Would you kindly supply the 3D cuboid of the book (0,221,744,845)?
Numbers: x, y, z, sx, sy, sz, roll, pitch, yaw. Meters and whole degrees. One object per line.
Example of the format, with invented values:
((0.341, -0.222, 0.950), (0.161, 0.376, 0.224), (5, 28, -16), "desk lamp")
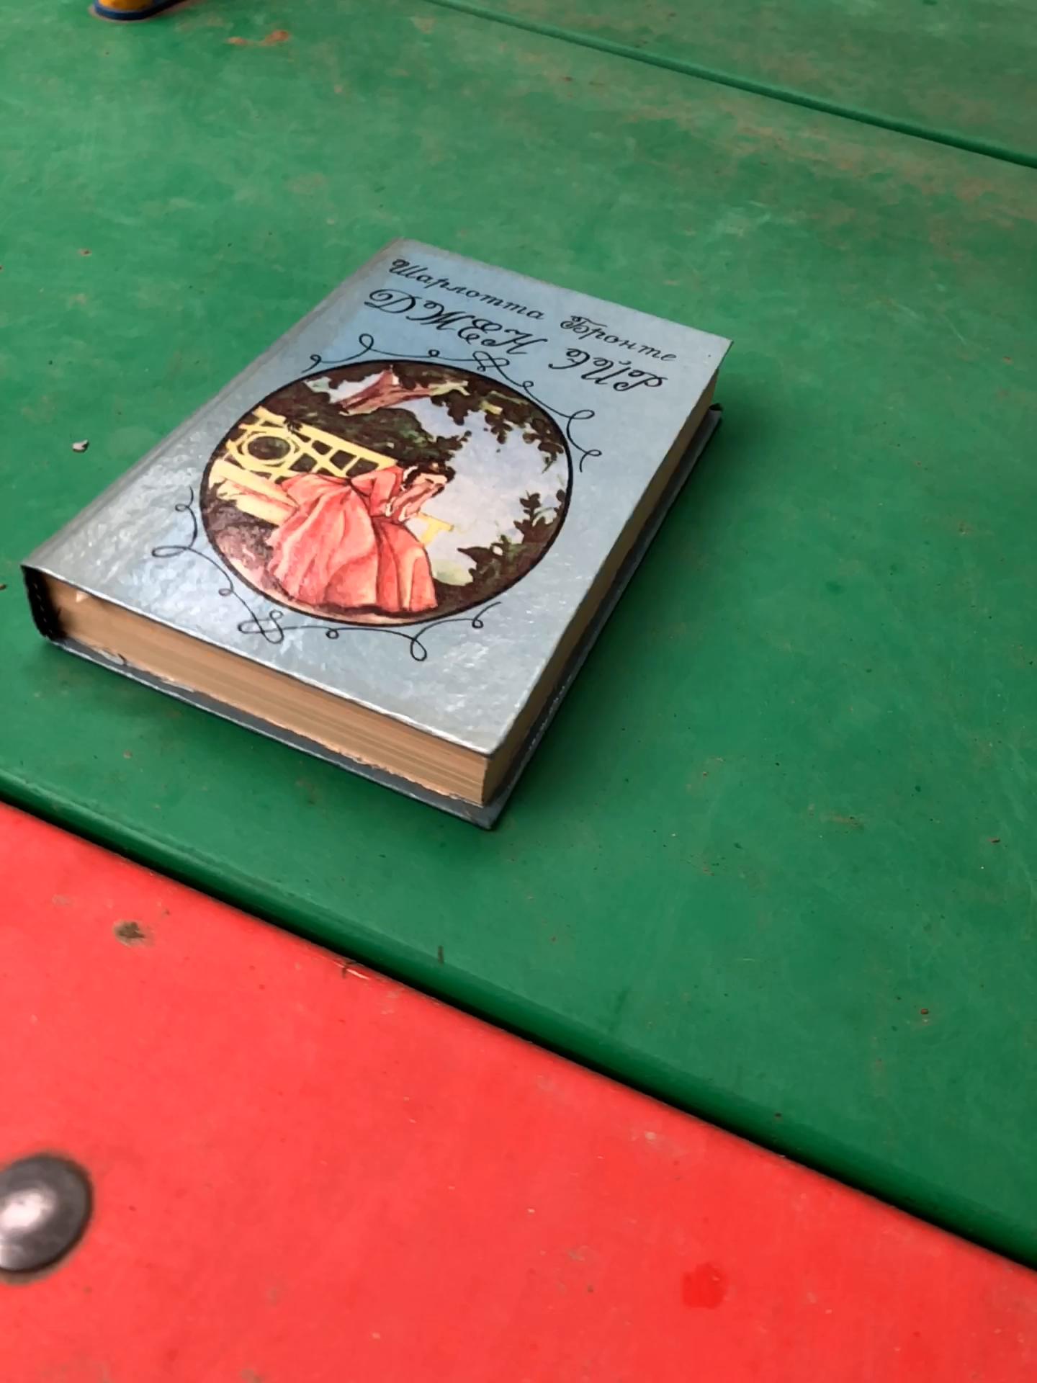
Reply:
((-0.028, -0.063, 0.332), (0.135, 0.030, 0.196), (21, 49, 11), "book")
